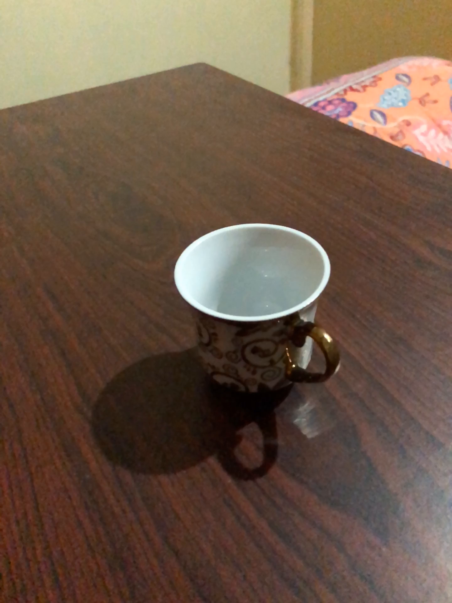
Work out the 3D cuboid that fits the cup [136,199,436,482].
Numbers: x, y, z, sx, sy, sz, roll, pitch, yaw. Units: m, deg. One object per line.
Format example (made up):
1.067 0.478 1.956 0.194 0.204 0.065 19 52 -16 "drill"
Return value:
0.021 0.008 0.207 0.070 0.050 0.090 -30 46 -27 "cup"
